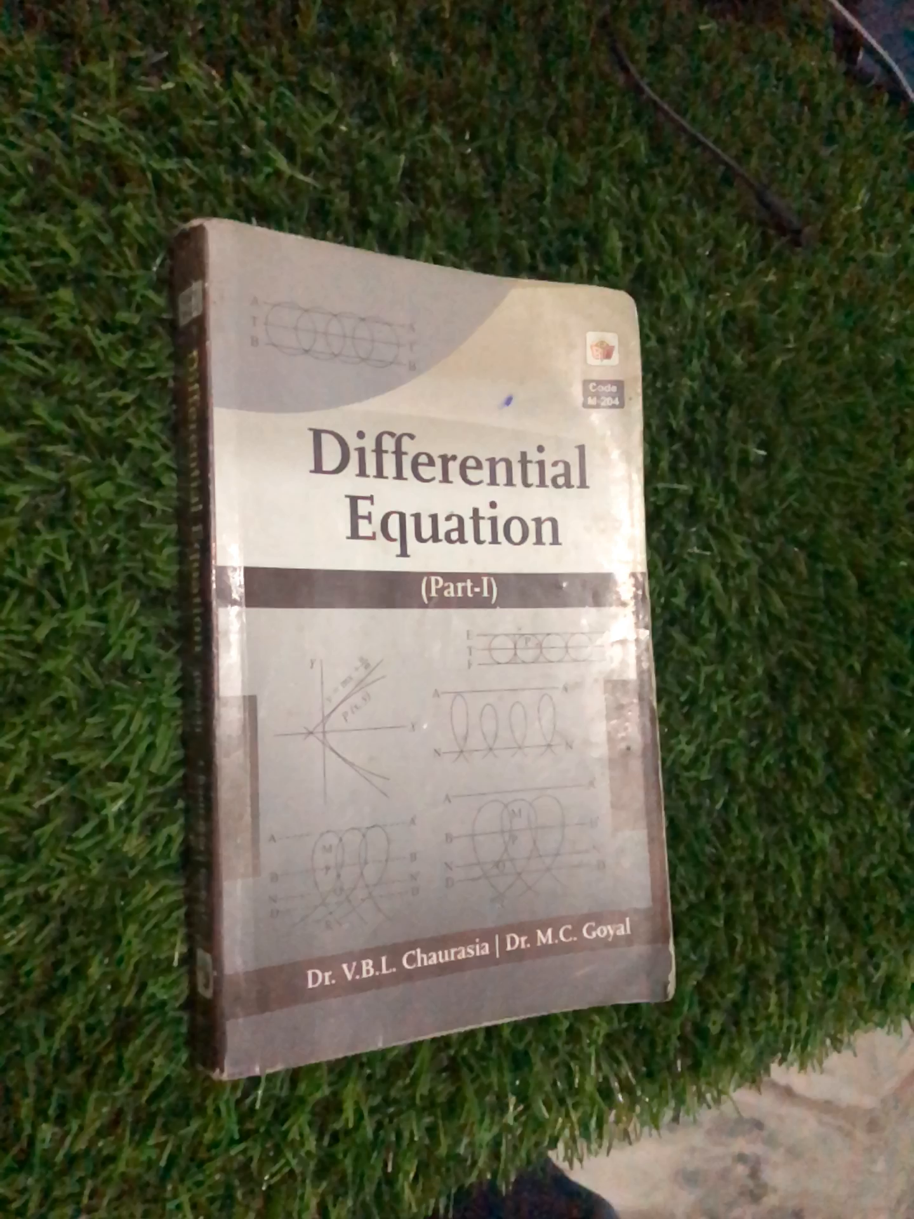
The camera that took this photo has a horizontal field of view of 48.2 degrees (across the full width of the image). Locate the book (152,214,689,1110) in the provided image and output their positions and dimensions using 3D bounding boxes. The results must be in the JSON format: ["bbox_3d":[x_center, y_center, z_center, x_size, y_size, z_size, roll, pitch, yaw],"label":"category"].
[{"bbox_3d":[-0.006,0.010,0.277,0.141,0.030,0.200,1,84,-31],"label":"book"}]
